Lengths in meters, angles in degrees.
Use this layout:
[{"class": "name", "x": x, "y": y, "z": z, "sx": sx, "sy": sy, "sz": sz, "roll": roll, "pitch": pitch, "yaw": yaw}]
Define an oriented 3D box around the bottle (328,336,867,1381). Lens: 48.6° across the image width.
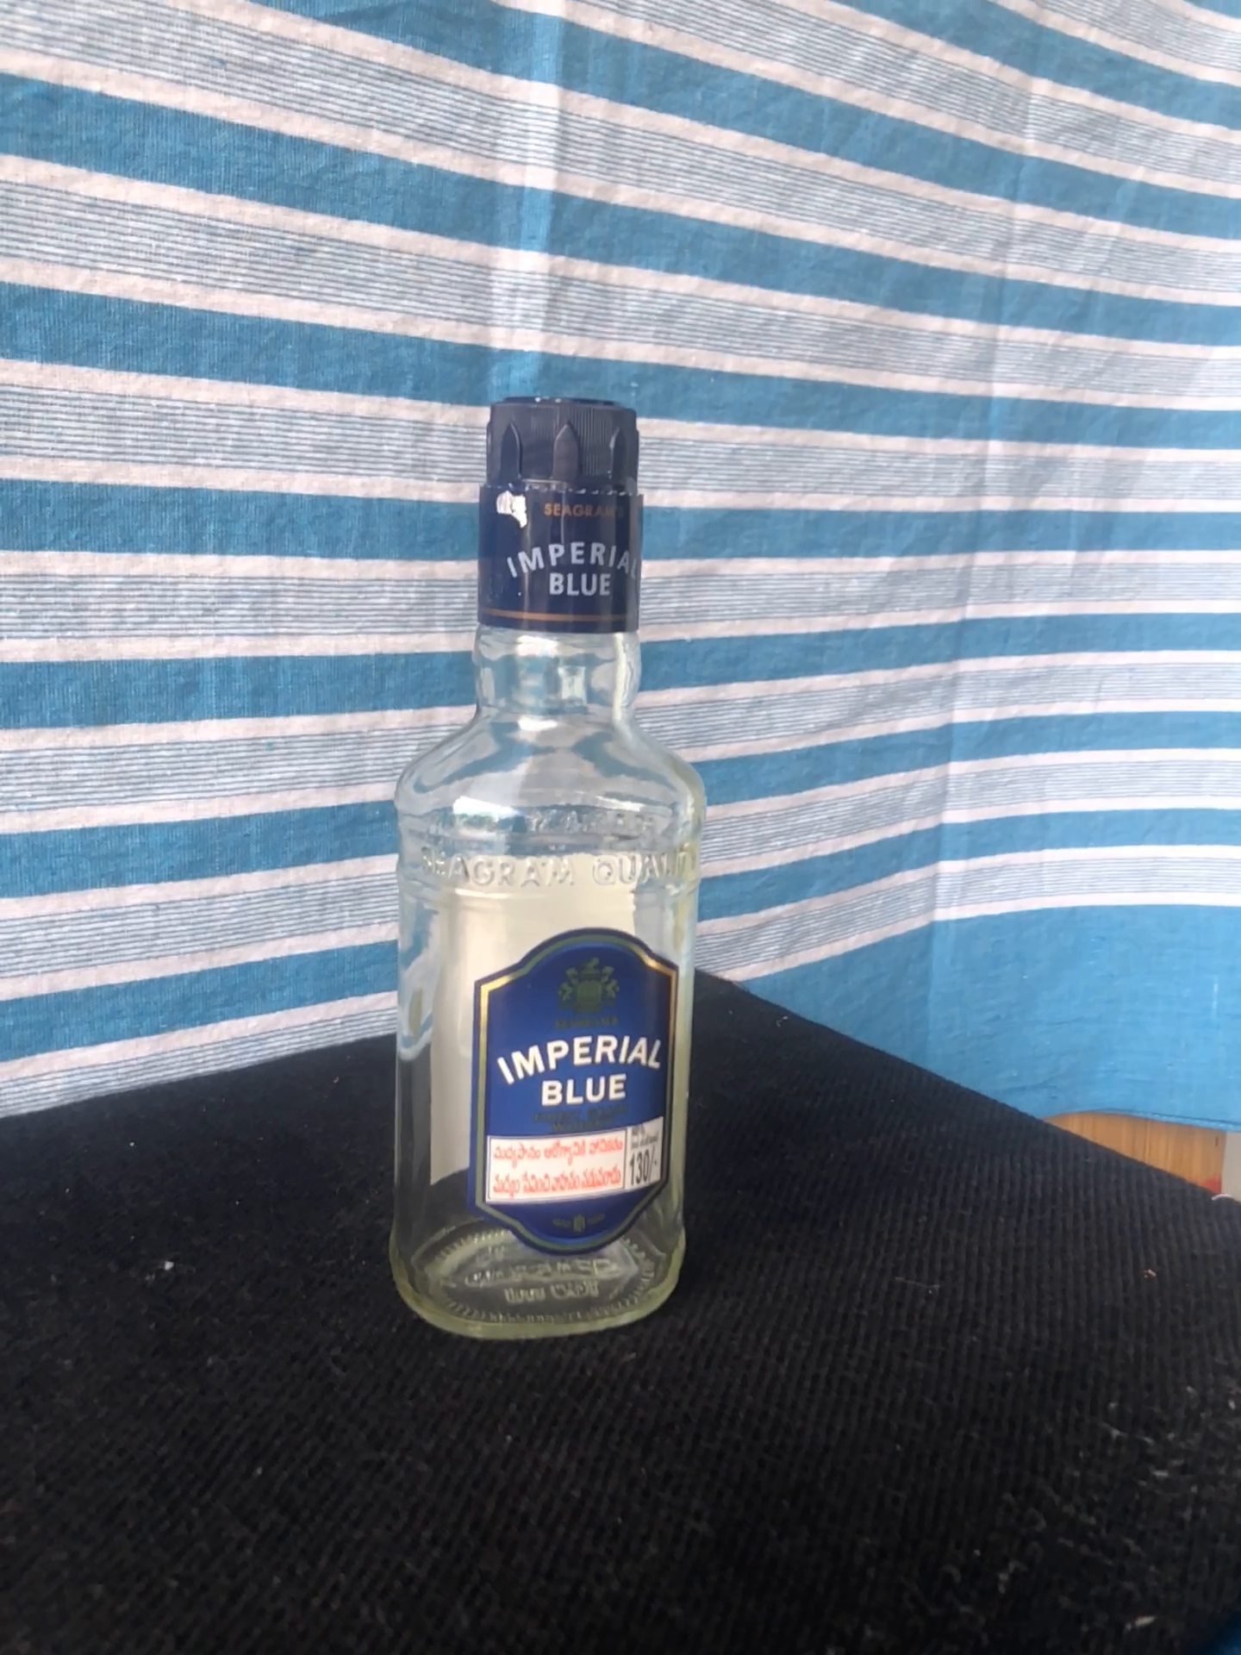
[{"class": "bottle", "x": -0.010, "y": 0.006, "z": 0.249, "sx": 0.070, "sy": 0.169, "sz": 0.050, "roll": 1, "pitch": 14, "yaw": -19}]
